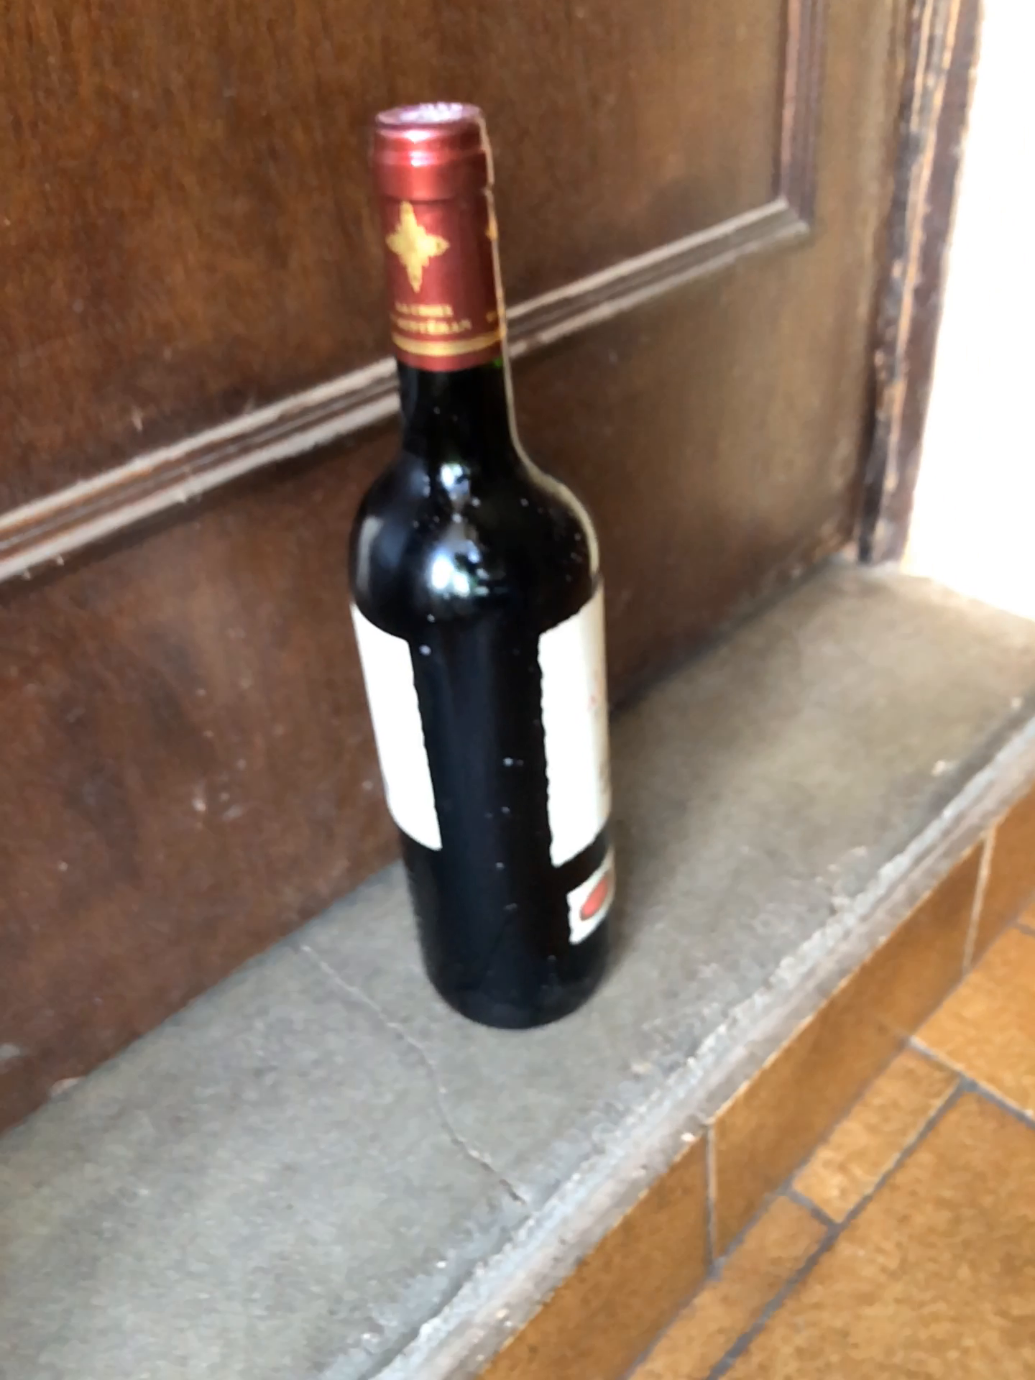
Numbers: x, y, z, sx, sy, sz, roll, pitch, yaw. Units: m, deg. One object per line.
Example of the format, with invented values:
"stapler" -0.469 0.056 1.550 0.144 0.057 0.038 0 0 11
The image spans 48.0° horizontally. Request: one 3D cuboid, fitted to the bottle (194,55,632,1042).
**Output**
"bottle" -0.010 -0.019 0.338 0.080 0.278 0.081 -4 36 3
